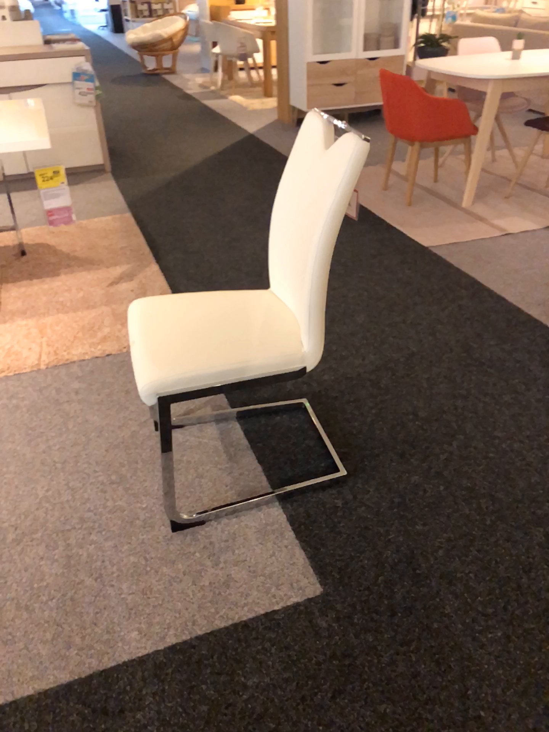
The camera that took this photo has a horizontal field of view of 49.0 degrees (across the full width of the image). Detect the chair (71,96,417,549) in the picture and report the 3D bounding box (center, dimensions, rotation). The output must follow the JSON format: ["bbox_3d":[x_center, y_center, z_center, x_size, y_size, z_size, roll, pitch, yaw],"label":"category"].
[{"bbox_3d":[-0.099,-0.133,1.549,0.631,0.915,0.562,-10,33,-13],"label":"chair"}]
